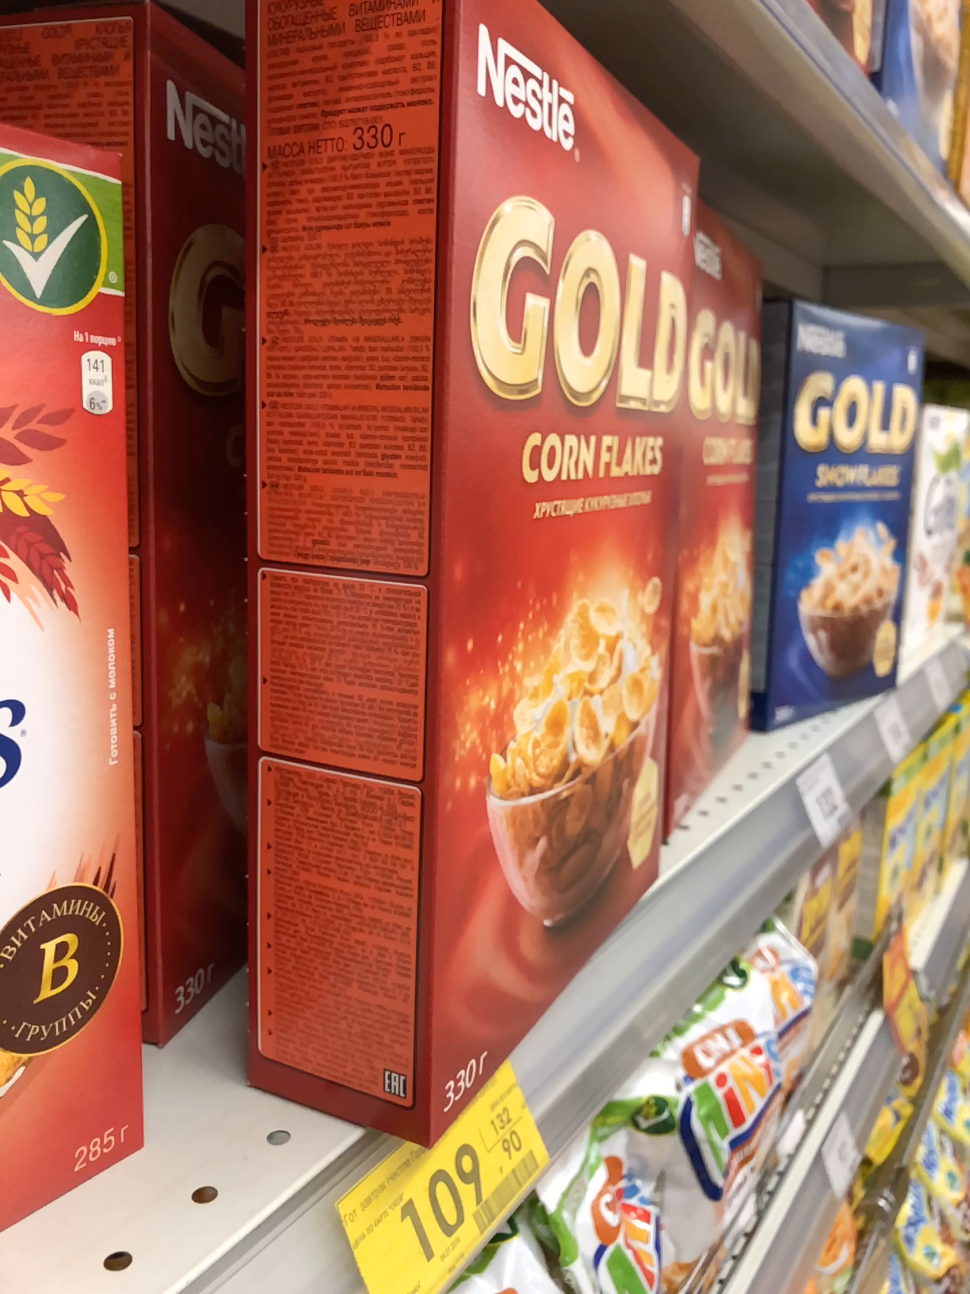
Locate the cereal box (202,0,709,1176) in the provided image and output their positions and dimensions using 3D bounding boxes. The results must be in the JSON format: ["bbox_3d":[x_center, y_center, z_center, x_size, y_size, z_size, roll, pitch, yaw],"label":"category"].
[{"bbox_3d":[0.004,-0.031,0.334,0.060,0.279,0.201,7,12,25],"label":"cereal box"}]
